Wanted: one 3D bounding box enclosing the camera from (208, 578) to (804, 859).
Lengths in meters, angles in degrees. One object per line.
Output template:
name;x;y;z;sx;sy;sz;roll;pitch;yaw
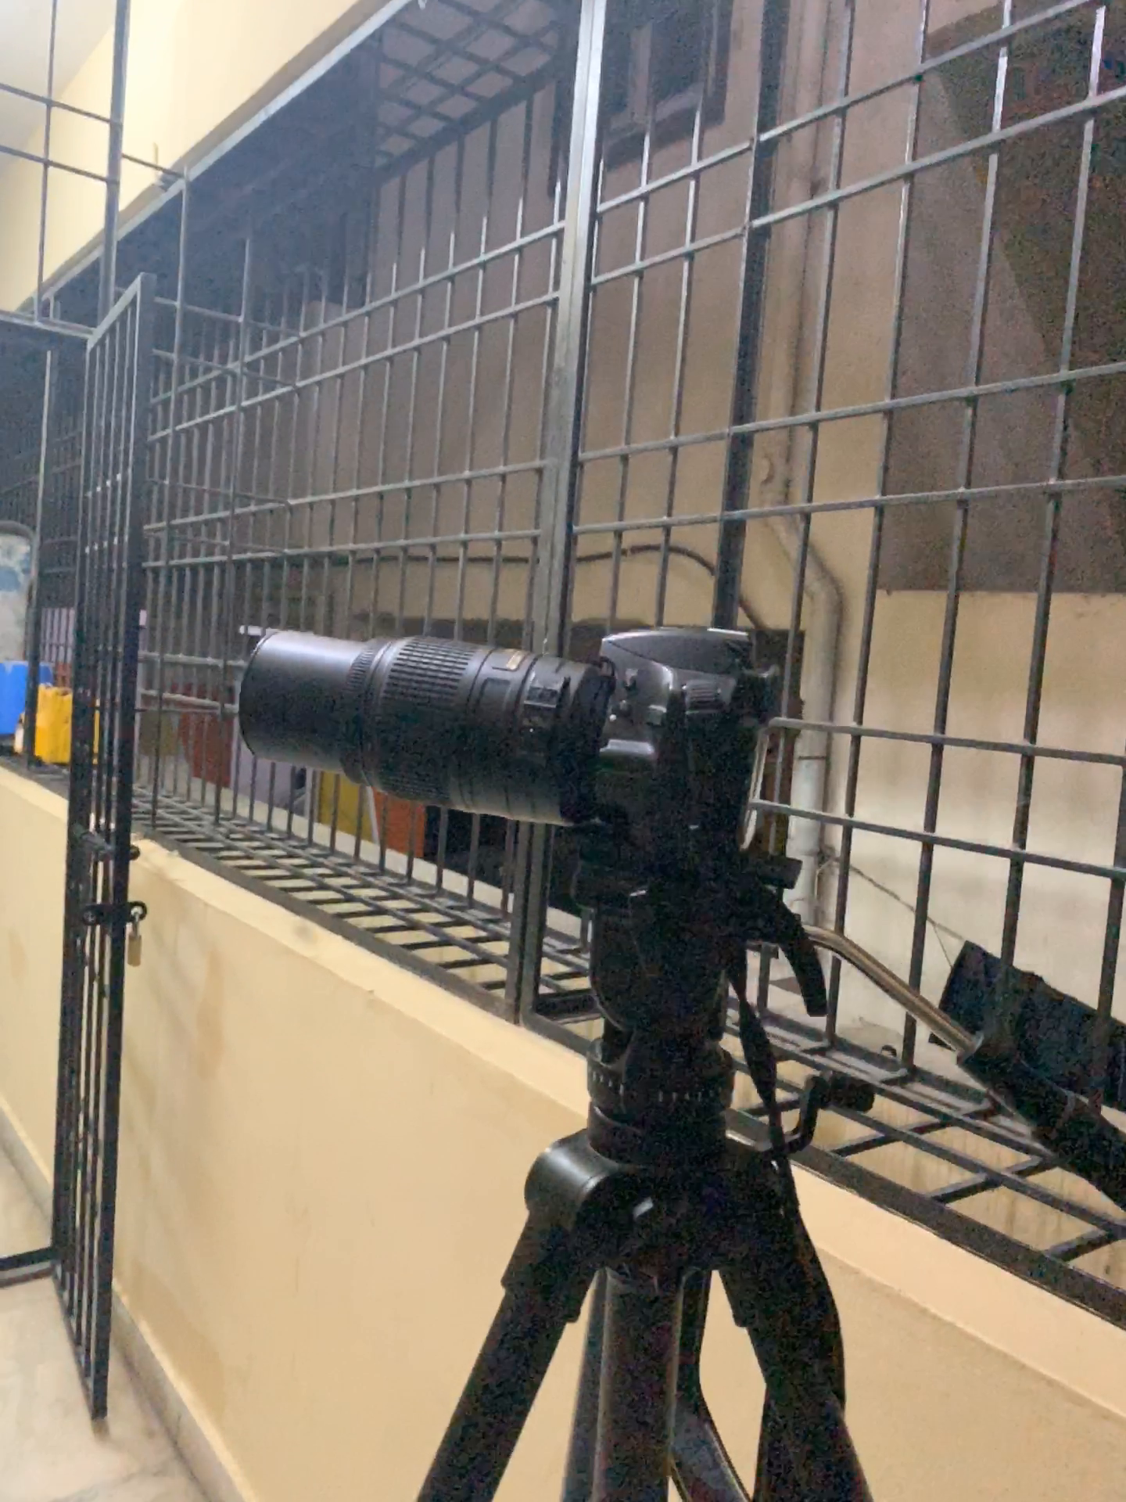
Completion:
camera;-0.018;-0.019;0.504;0.230;0.090;0.120;5;4;14
